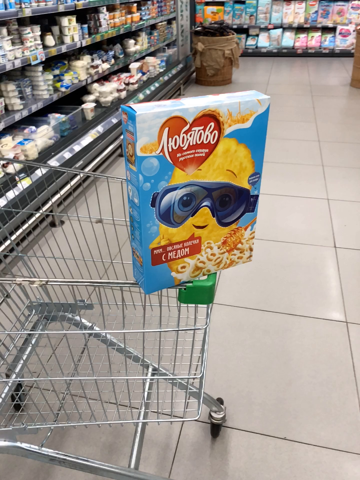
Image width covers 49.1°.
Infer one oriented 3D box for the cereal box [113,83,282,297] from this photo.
[{"bbox_3d":[0.025,-0.067,0.536,0.200,0.249,0.060,-15,34,-23],"label":"cereal box"}]
